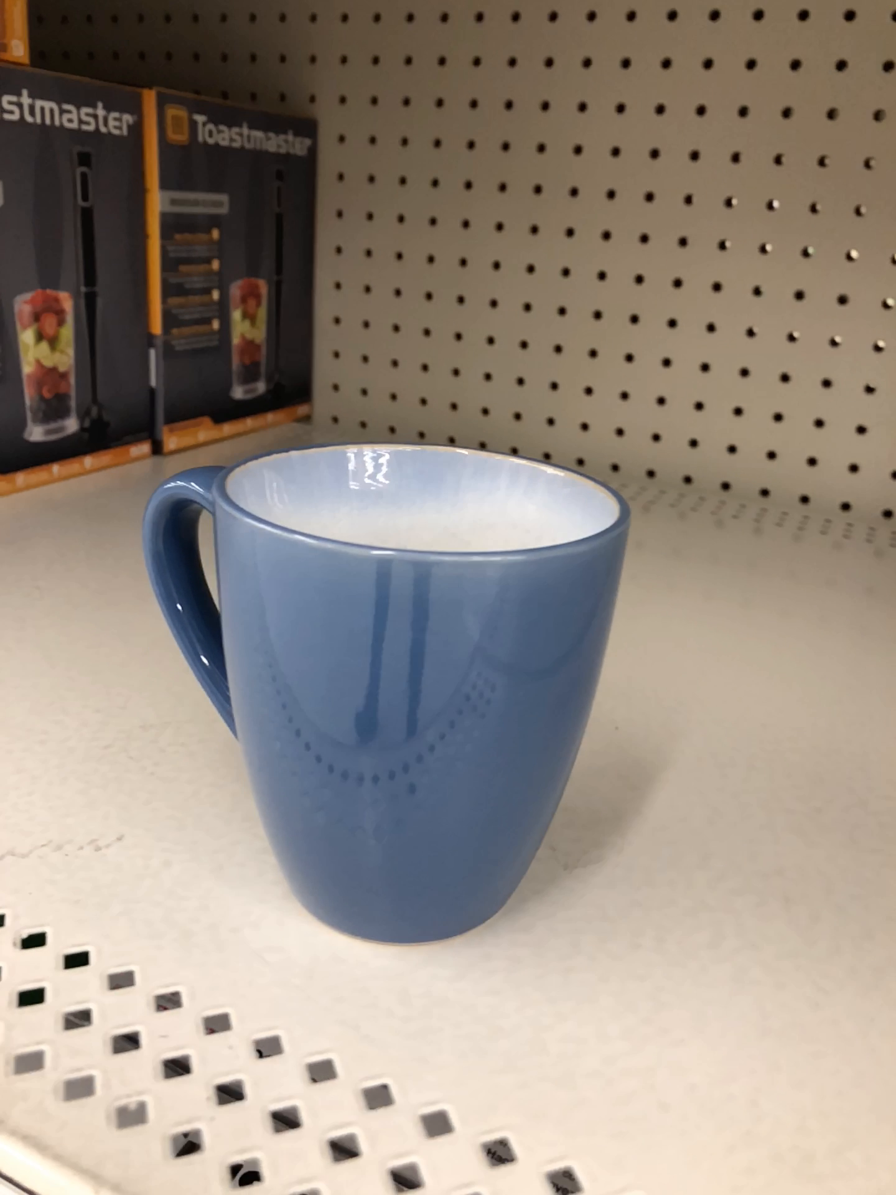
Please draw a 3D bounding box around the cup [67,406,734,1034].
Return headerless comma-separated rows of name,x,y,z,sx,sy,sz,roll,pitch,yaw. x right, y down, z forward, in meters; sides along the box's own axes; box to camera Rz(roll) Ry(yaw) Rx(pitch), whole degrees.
cup,-0.009,0.016,0.254,0.128,0.098,0.097,13,23,24
